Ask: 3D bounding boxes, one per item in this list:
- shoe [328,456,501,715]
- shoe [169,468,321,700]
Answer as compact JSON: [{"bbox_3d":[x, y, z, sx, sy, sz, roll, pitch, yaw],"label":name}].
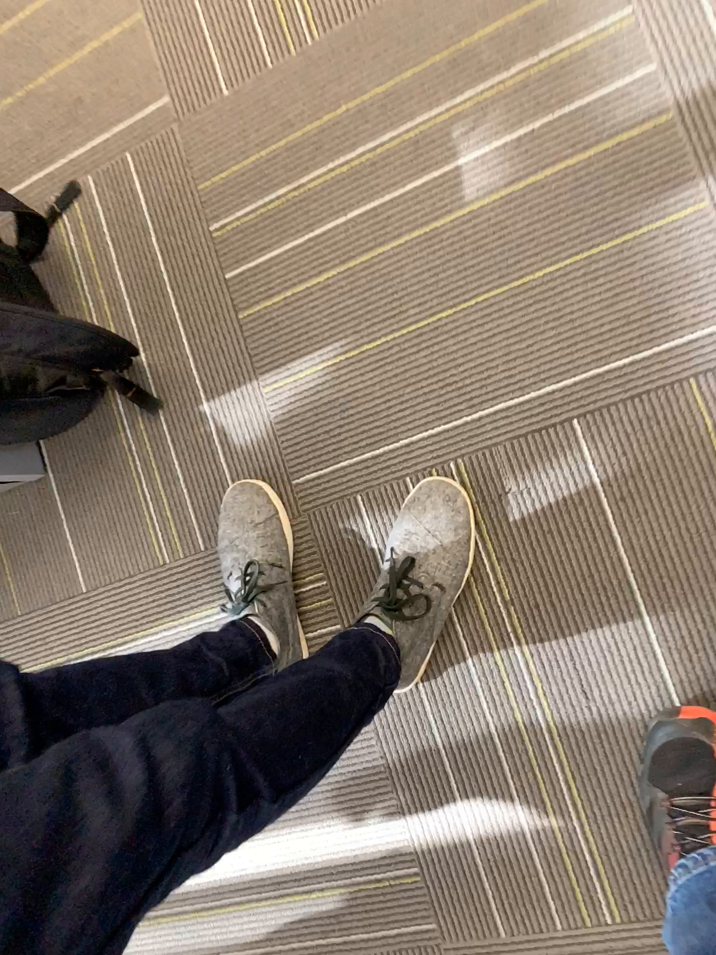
[{"bbox_3d":[0.074,0.134,0.960,0.134,0.087,0.299,18,98,19],"label":"shoe"},{"bbox_3d":[-0.160,0.148,1.044,0.134,0.087,0.301,-12,87,20],"label":"shoe"}]
